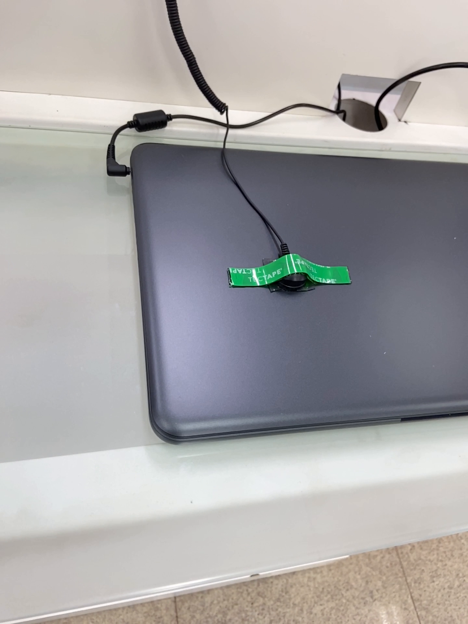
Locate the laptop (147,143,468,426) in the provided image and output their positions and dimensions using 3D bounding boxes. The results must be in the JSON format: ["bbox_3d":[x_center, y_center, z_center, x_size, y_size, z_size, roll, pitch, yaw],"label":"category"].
[{"bbox_3d":[0.120,-0.039,0.361,0.351,0.001,0.233,-1,55,-16],"label":"laptop"}]
